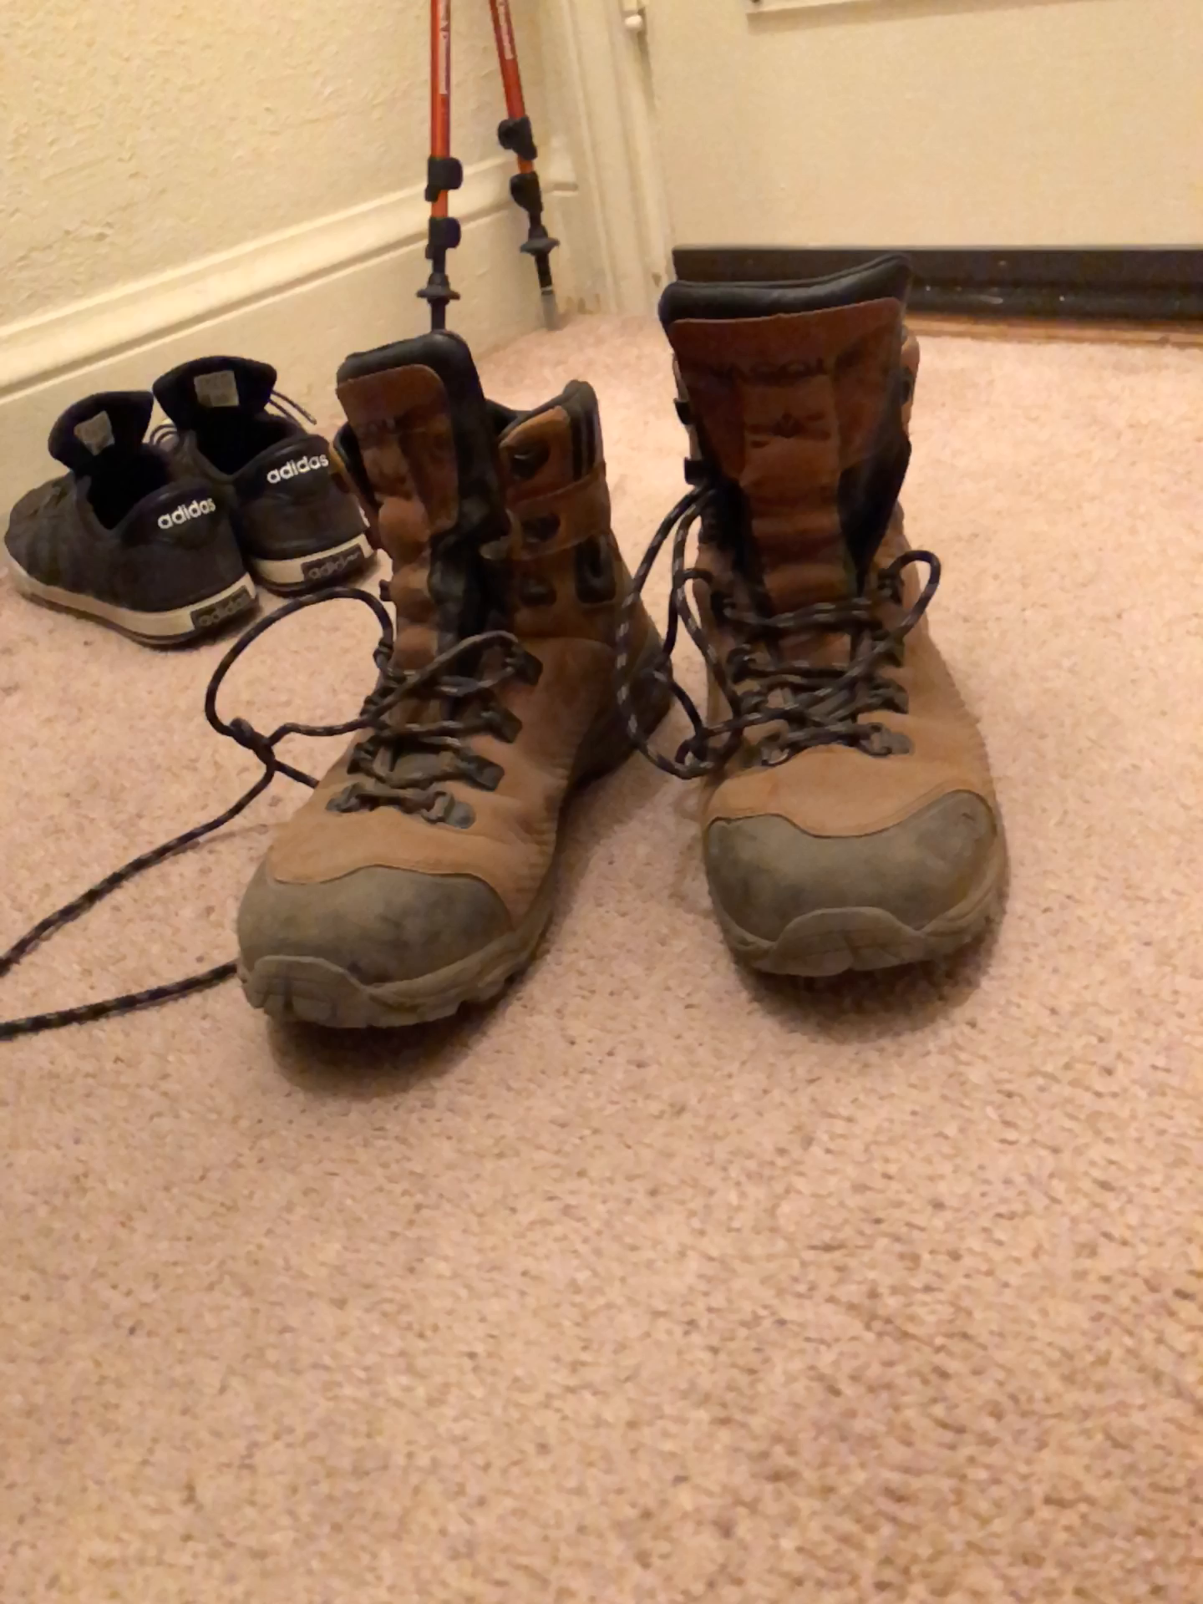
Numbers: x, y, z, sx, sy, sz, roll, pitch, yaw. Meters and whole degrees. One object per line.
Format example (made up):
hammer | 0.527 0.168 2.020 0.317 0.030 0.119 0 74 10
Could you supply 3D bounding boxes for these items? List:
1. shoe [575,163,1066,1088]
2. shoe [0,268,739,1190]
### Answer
shoe | 0.095 -0.086 0.515 0.120 0.229 0.312 -3 34 13
shoe | -0.054 -0.051 0.528 0.120 0.219 0.312 3 36 21
